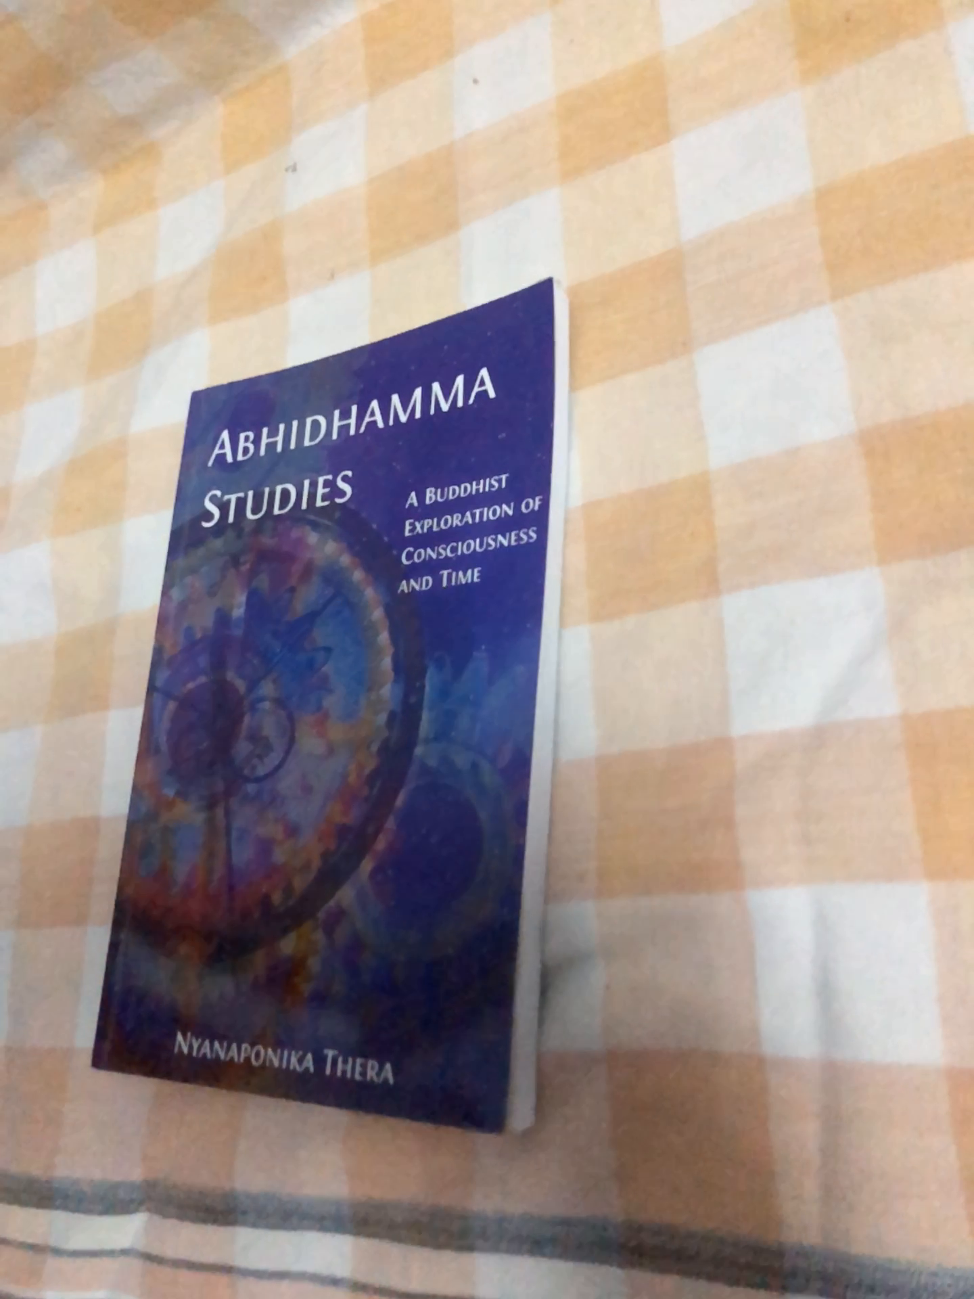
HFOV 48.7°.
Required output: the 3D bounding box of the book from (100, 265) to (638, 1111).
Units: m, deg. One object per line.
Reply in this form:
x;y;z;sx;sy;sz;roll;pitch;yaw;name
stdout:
-0.033;0.007;0.304;0.150;0.020;0.210;-6;71;29;book
